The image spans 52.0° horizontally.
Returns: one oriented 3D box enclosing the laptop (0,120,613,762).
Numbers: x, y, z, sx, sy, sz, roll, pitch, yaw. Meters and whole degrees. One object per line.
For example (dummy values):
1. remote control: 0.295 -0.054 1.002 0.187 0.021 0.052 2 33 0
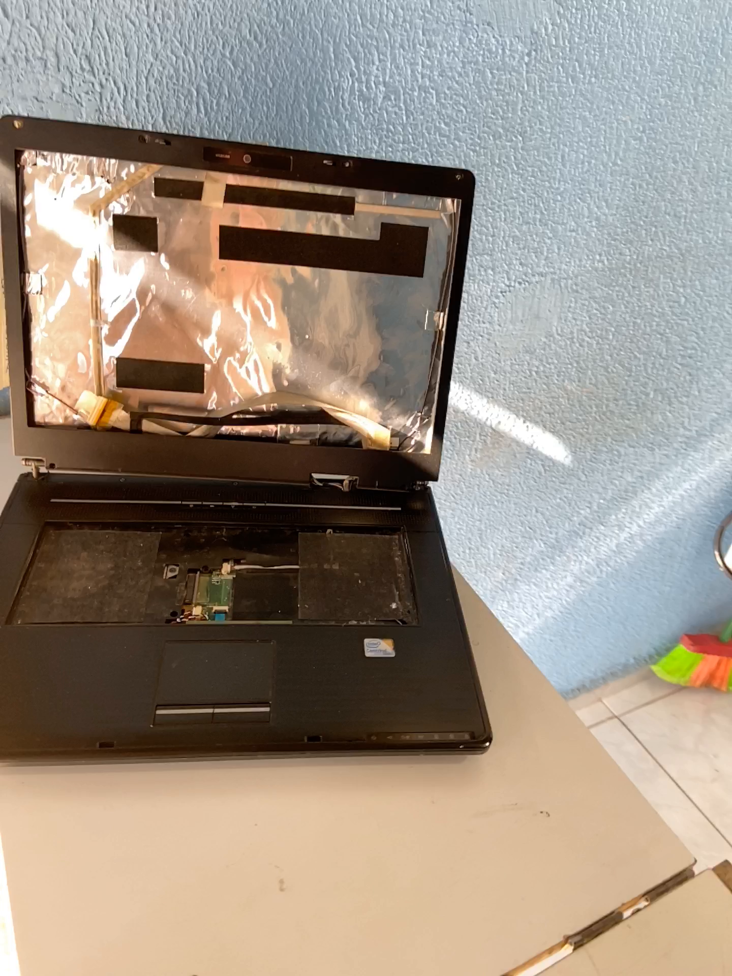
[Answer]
1. laptop: -0.090 -0.053 0.514 0.352 0.261 0.352 2 37 -7
